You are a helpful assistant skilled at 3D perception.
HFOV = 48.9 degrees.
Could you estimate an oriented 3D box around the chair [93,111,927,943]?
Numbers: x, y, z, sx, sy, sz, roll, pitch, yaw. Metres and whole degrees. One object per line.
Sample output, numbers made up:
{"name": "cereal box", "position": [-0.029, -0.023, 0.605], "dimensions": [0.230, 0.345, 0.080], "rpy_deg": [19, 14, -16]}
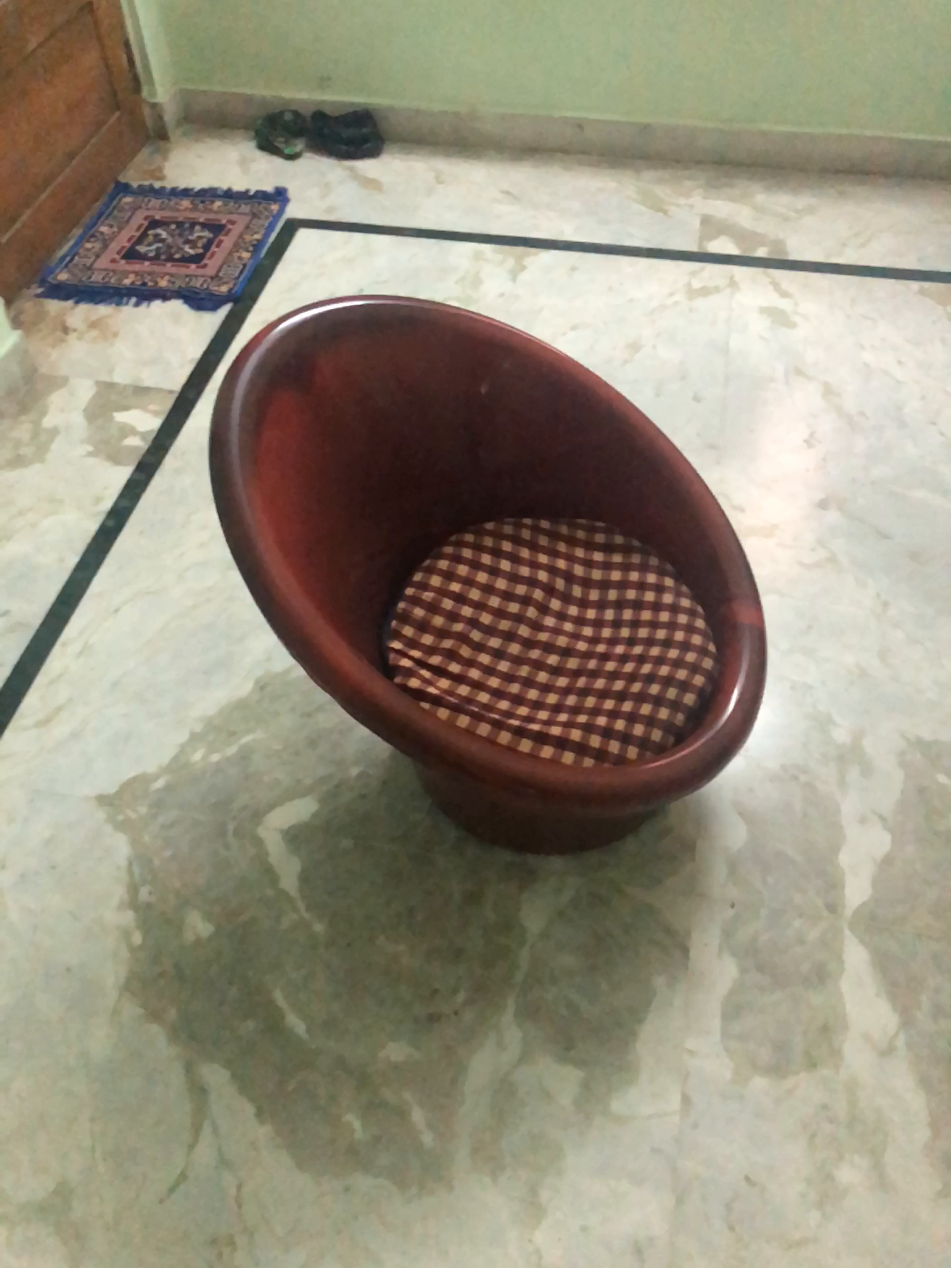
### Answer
{"name": "chair", "position": [0.089, -0.157, 1.241], "dimensions": [0.631, 0.547, 0.673], "rpy_deg": [16, 52, 15]}
